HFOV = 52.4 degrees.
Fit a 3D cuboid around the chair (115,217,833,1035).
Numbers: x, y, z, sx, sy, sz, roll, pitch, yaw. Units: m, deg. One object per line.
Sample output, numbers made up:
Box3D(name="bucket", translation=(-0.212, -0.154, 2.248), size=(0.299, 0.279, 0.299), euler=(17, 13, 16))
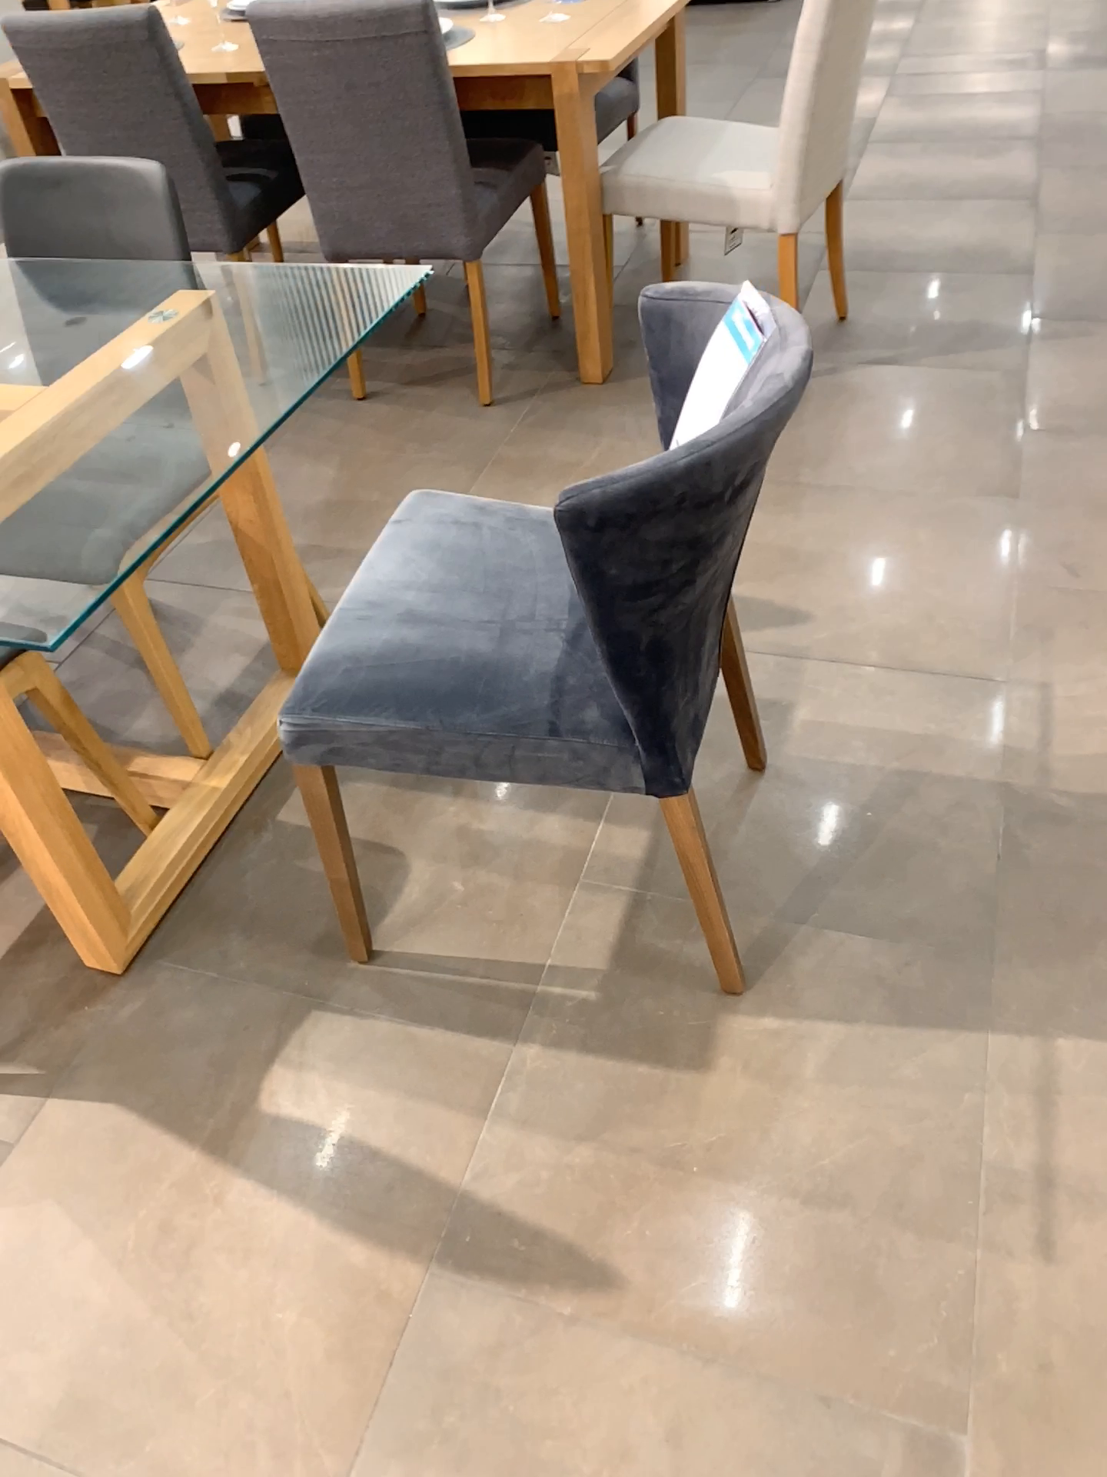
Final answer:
Box3D(name="chair", translation=(-0.002, -0.146, 1.452), size=(0.614, 0.805, 0.582), euler=(6, 44, 15))
